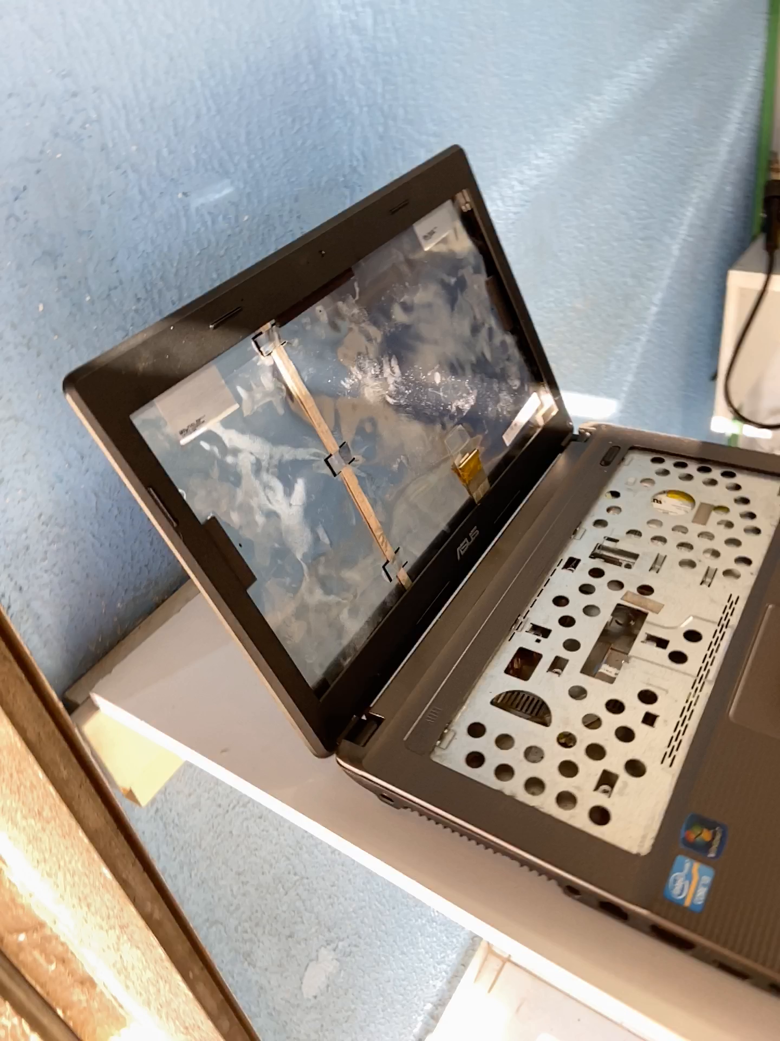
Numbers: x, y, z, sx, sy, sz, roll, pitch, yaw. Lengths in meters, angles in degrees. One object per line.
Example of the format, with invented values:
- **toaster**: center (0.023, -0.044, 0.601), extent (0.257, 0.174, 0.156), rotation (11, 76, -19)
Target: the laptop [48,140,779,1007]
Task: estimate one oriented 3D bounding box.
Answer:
- **laptop**: center (0.102, -0.040, 0.414), extent (0.327, 0.202, 0.338), rotation (15, 43, 30)
